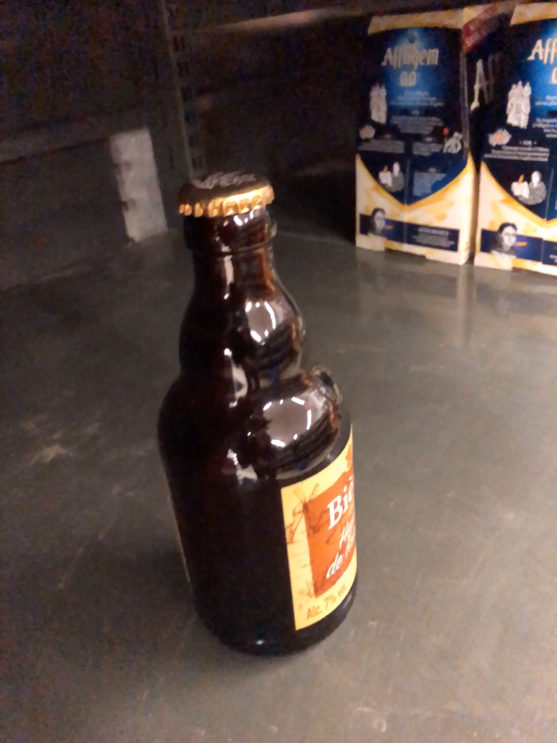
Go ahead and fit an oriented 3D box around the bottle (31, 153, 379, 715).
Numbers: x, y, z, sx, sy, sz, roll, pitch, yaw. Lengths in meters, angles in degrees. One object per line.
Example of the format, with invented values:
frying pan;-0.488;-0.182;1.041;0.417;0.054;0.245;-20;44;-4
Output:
bottle;-0.010;0.024;0.219;0.070;0.179;0.070;-5;29;3

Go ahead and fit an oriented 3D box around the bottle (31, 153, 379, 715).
bottle;-0.010;0.024;0.219;0.070;0.179;0.070;-5;29;3
